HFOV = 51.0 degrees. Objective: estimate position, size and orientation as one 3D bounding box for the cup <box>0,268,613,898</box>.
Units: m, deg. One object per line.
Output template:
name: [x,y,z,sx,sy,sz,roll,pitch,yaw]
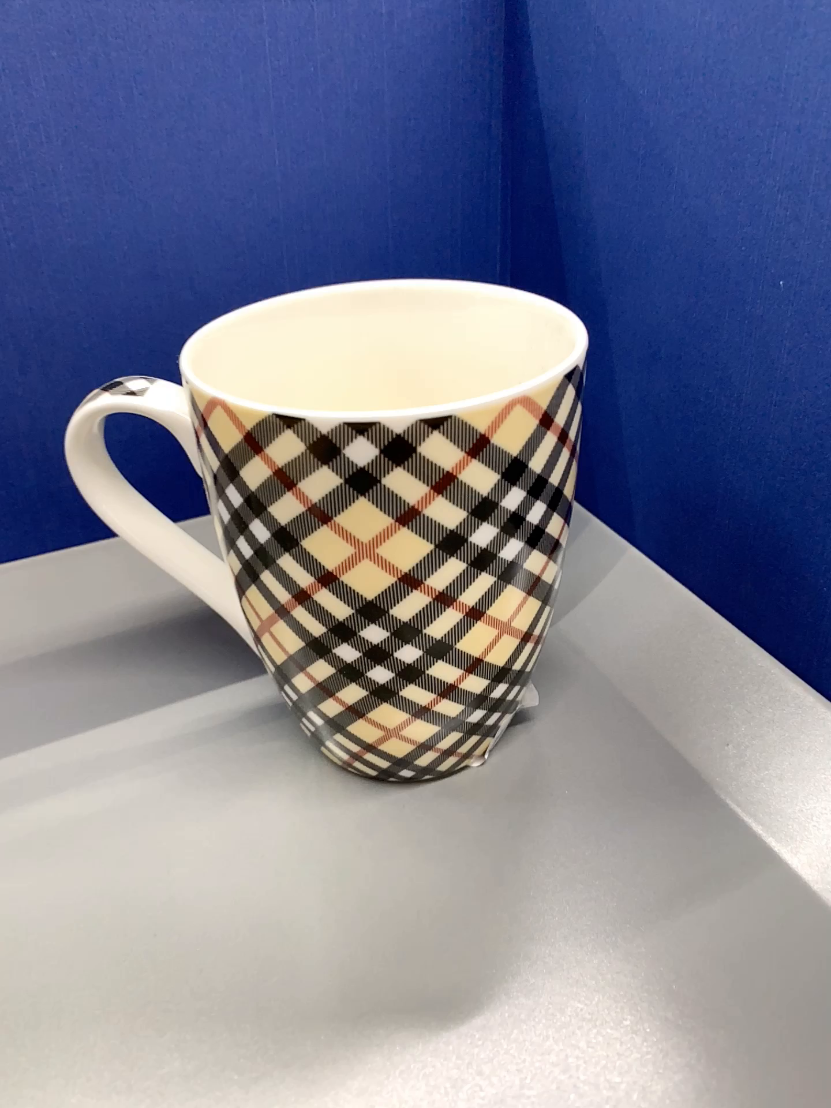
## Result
cup: [-0.022,-0.002,0.206,0.120,0.104,0.091,6,31,12]
